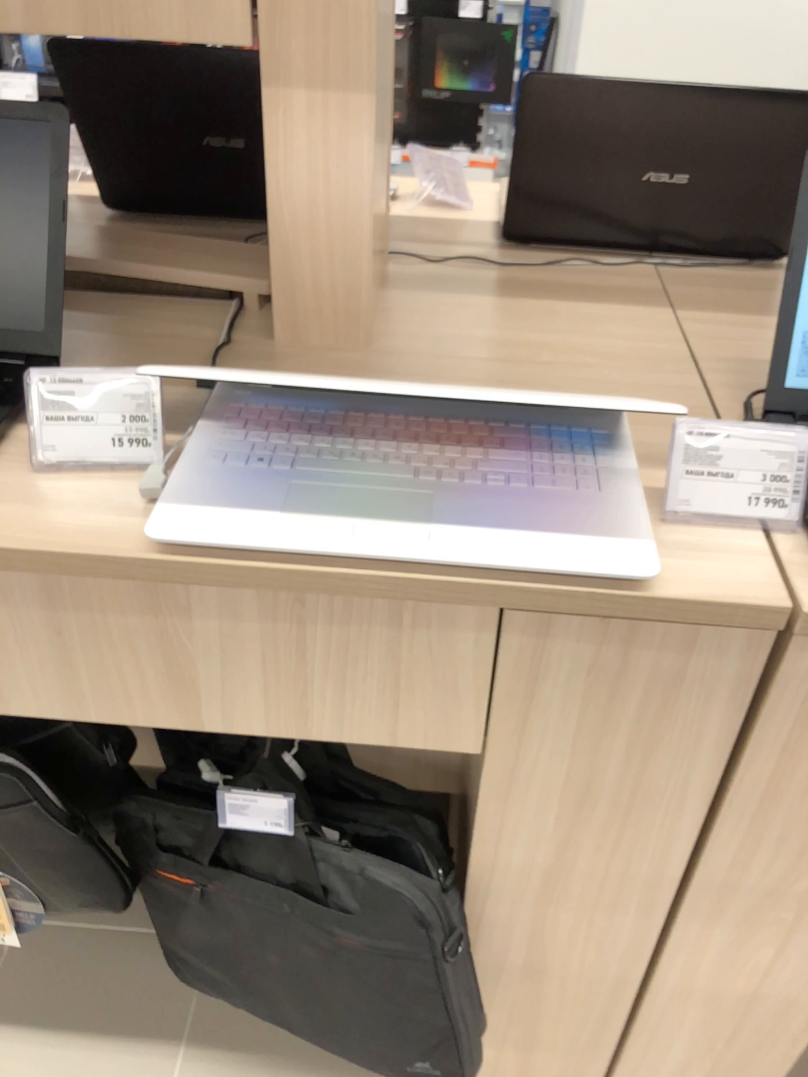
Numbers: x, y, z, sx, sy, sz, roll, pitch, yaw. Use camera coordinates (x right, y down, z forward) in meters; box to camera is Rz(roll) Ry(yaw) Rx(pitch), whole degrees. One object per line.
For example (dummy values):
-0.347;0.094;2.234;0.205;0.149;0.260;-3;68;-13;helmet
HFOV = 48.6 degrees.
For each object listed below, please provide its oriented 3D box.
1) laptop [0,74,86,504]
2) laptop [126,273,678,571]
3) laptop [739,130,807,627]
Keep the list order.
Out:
-0.541;-0.239;0.771;0.386;0.203;0.370;5;37;2;laptop
0.005;-0.105;0.715;0.368;0.103;0.233;4;39;3;laptop
0.528;-0.148;0.708;0.391;0.219;0.351;5;36;1;laptop
